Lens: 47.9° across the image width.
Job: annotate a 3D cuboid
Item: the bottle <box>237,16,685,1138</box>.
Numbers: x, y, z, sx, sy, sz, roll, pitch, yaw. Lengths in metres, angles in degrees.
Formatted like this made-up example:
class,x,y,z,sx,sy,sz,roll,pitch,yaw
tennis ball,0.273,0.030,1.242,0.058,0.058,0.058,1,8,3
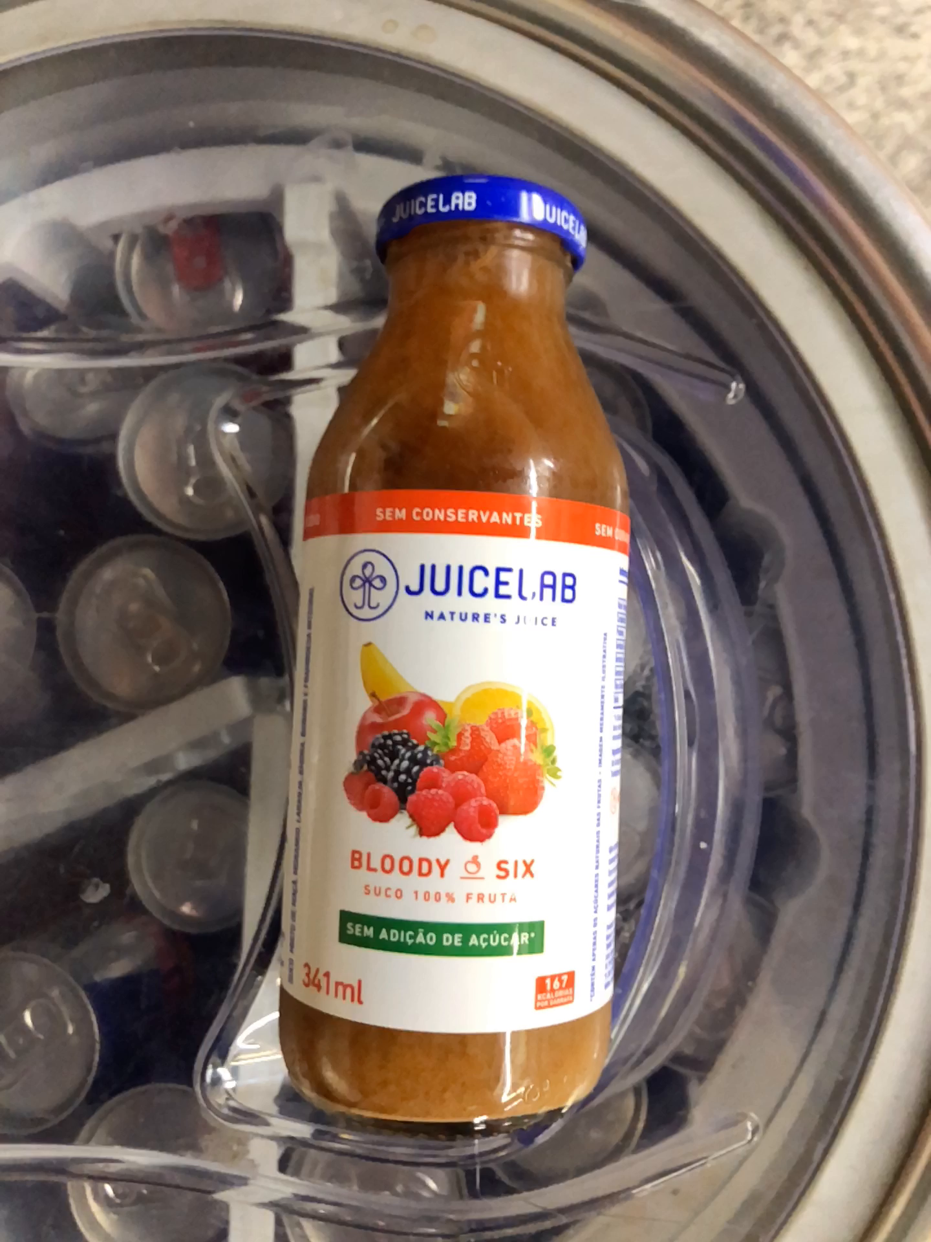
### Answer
class,x,y,z,sx,sy,sz,roll,pitch,yaw
bottle,-0.001,-0.008,0.209,0.070,0.060,0.190,2,86,-5
